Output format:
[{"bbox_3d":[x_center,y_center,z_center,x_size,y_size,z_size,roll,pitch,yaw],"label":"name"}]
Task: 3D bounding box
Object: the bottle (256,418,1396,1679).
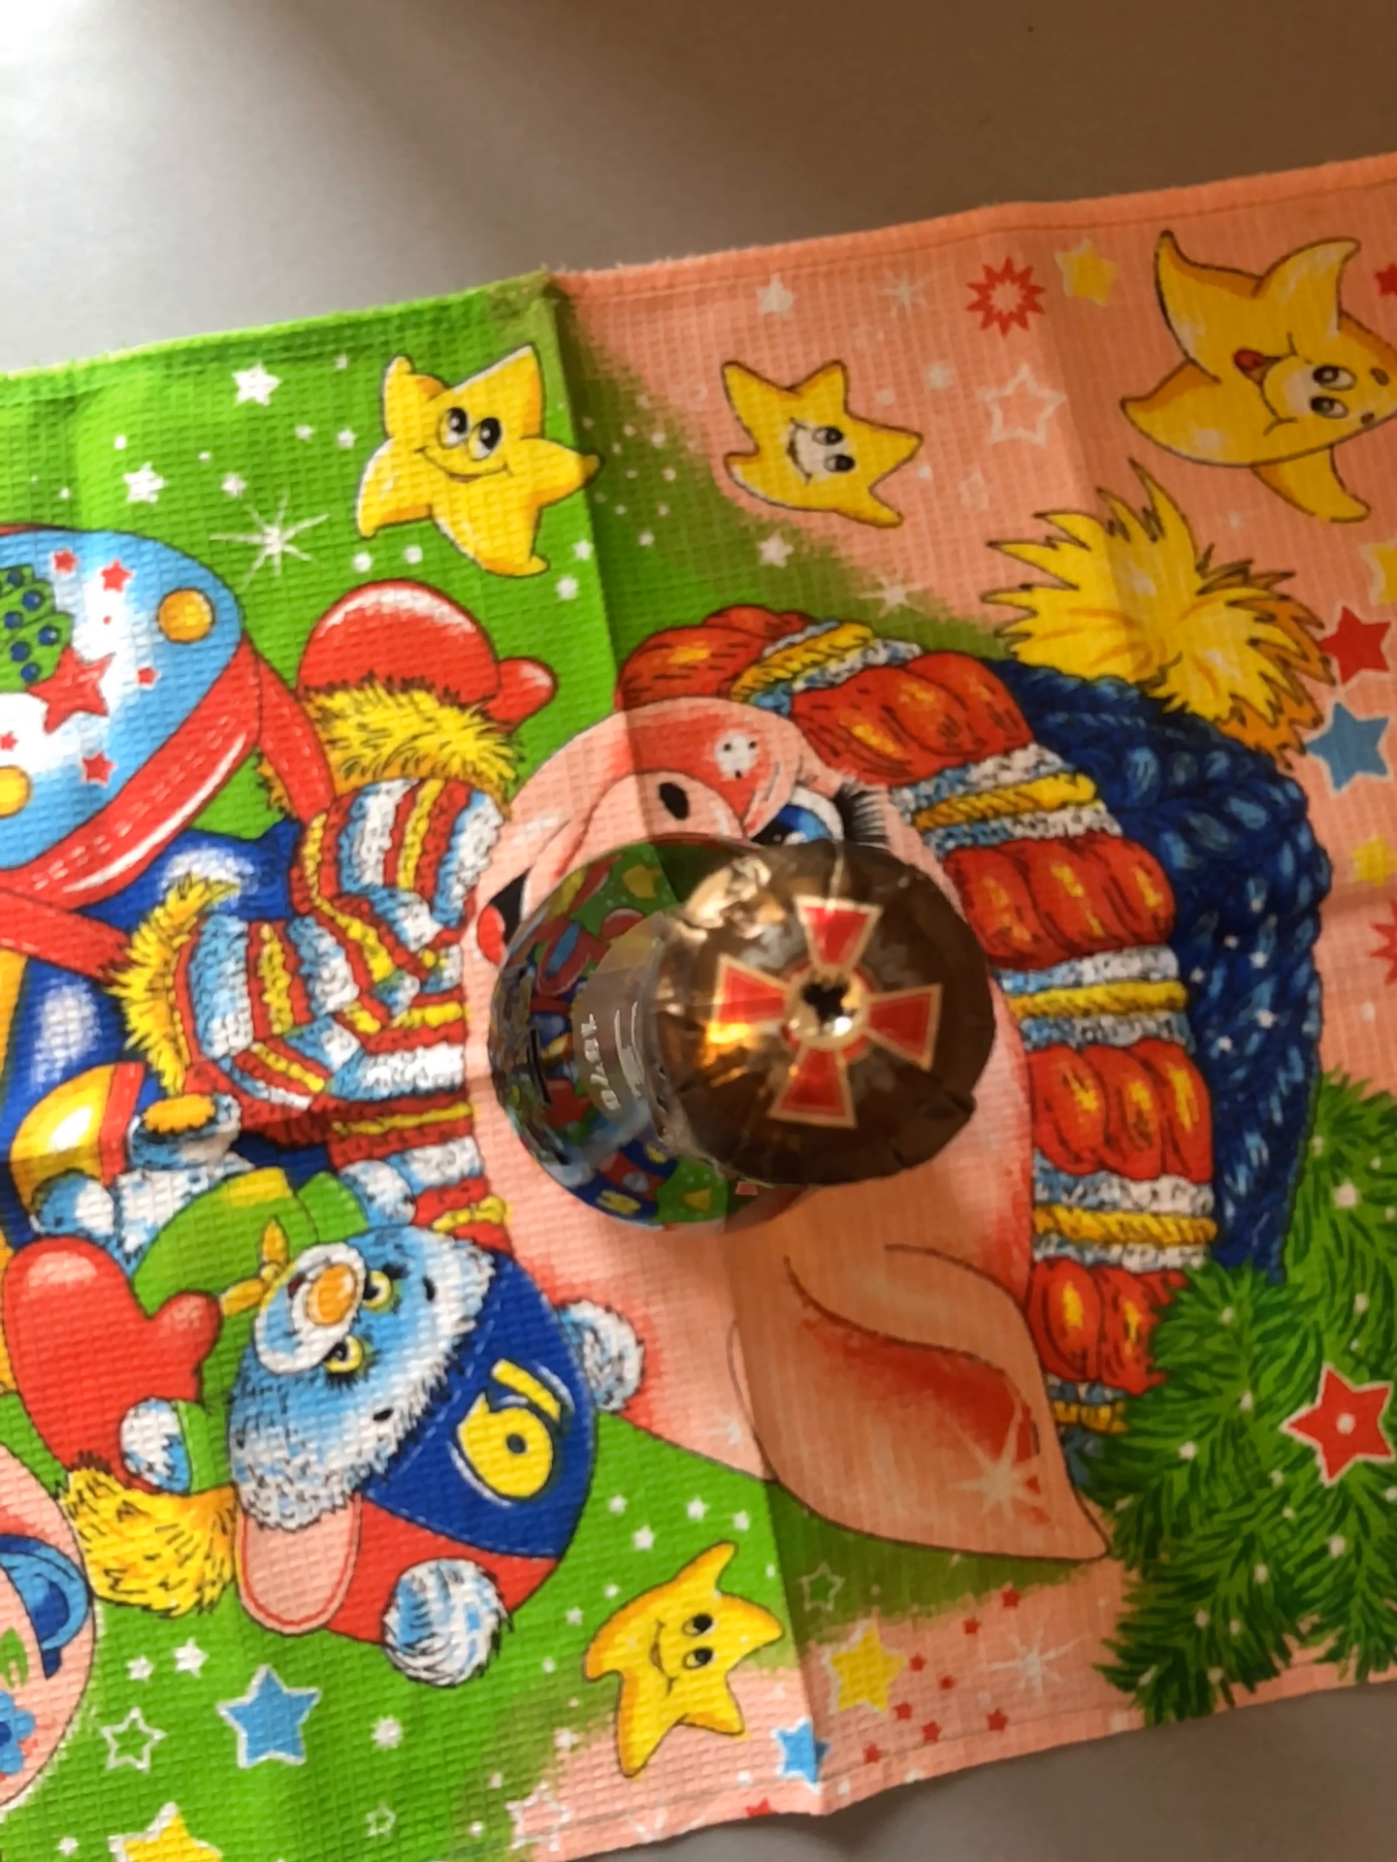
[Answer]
[{"bbox_3d":[0.006,0.019,0.281,0.093,0.310,0.090,0,85,-4],"label":"bottle"}]
